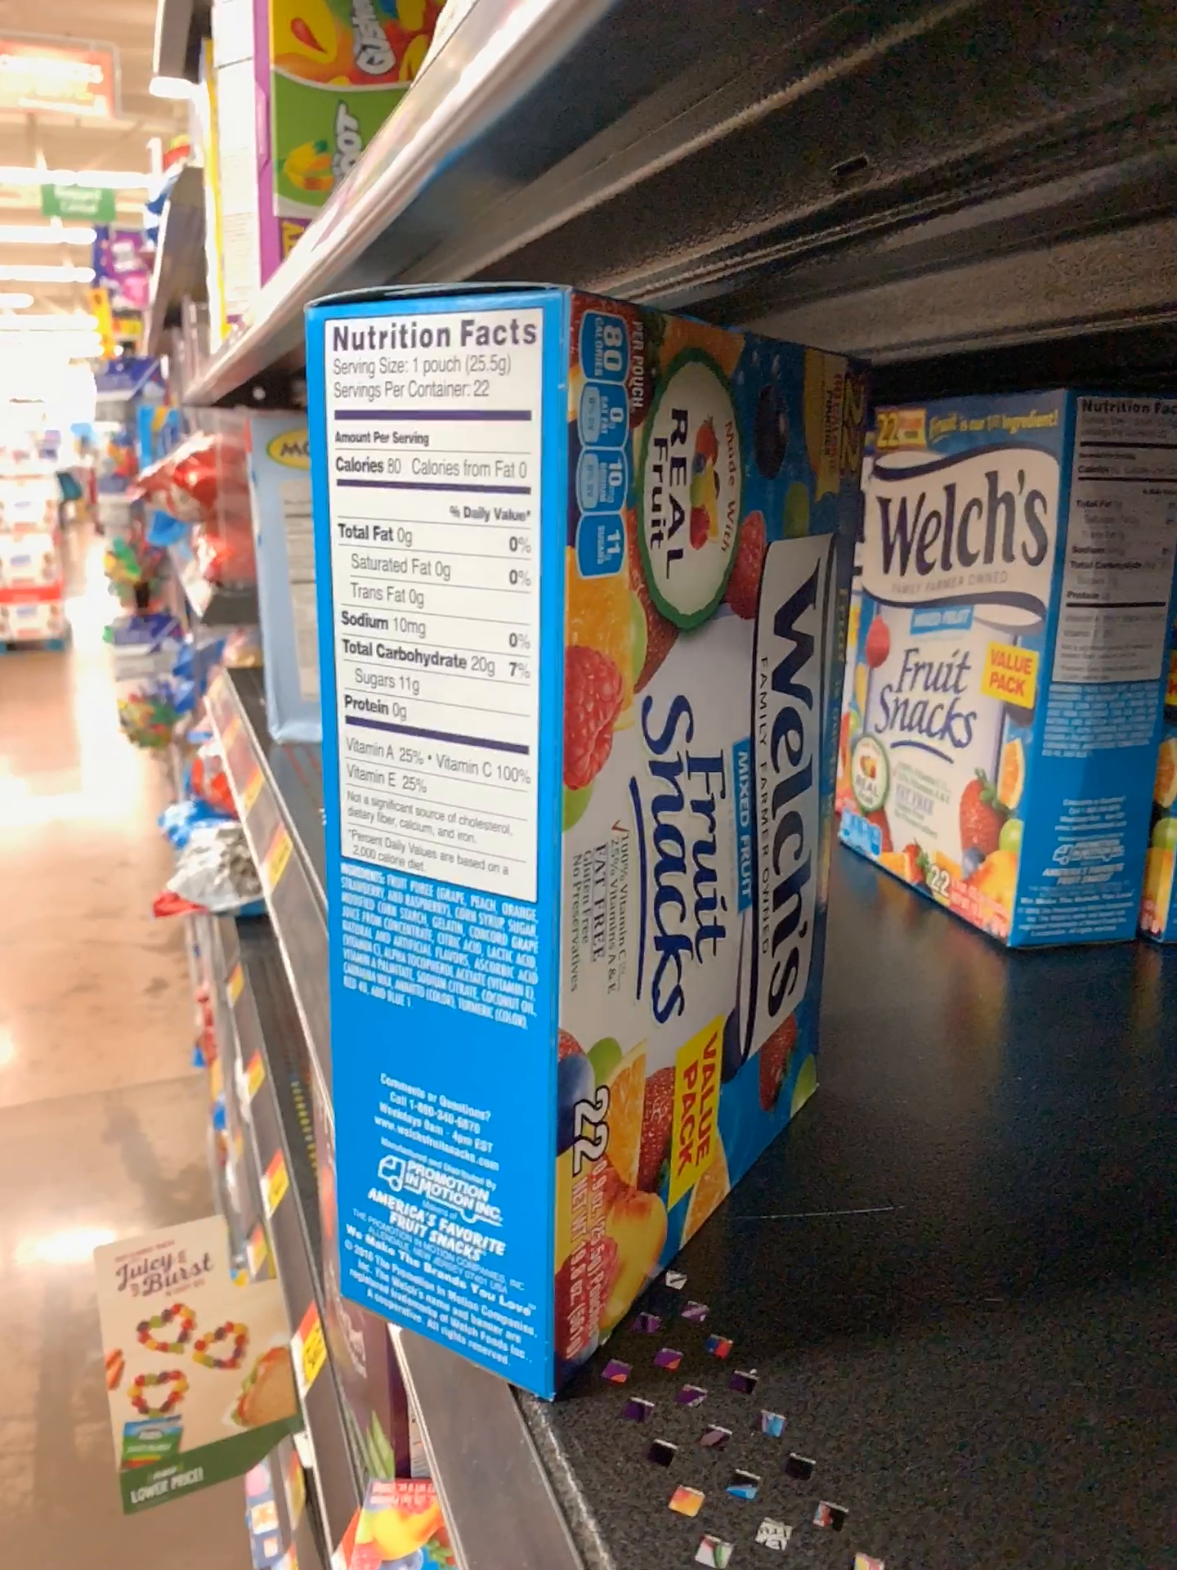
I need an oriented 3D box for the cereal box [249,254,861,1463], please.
[{"bbox_3d":[0.003,0.005,0.308,0.060,0.229,0.170,10,16,29],"label":"cereal box"}]
